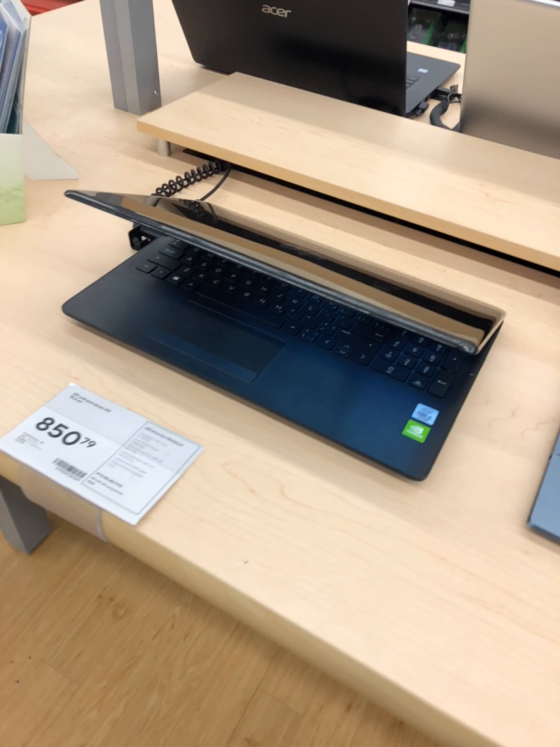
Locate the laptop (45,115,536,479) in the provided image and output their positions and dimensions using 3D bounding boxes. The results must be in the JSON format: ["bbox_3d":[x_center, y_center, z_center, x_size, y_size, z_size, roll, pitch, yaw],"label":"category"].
[{"bbox_3d":[0.012,-0.103,0.579,0.371,0.115,0.240,24,46,20],"label":"laptop"}]
